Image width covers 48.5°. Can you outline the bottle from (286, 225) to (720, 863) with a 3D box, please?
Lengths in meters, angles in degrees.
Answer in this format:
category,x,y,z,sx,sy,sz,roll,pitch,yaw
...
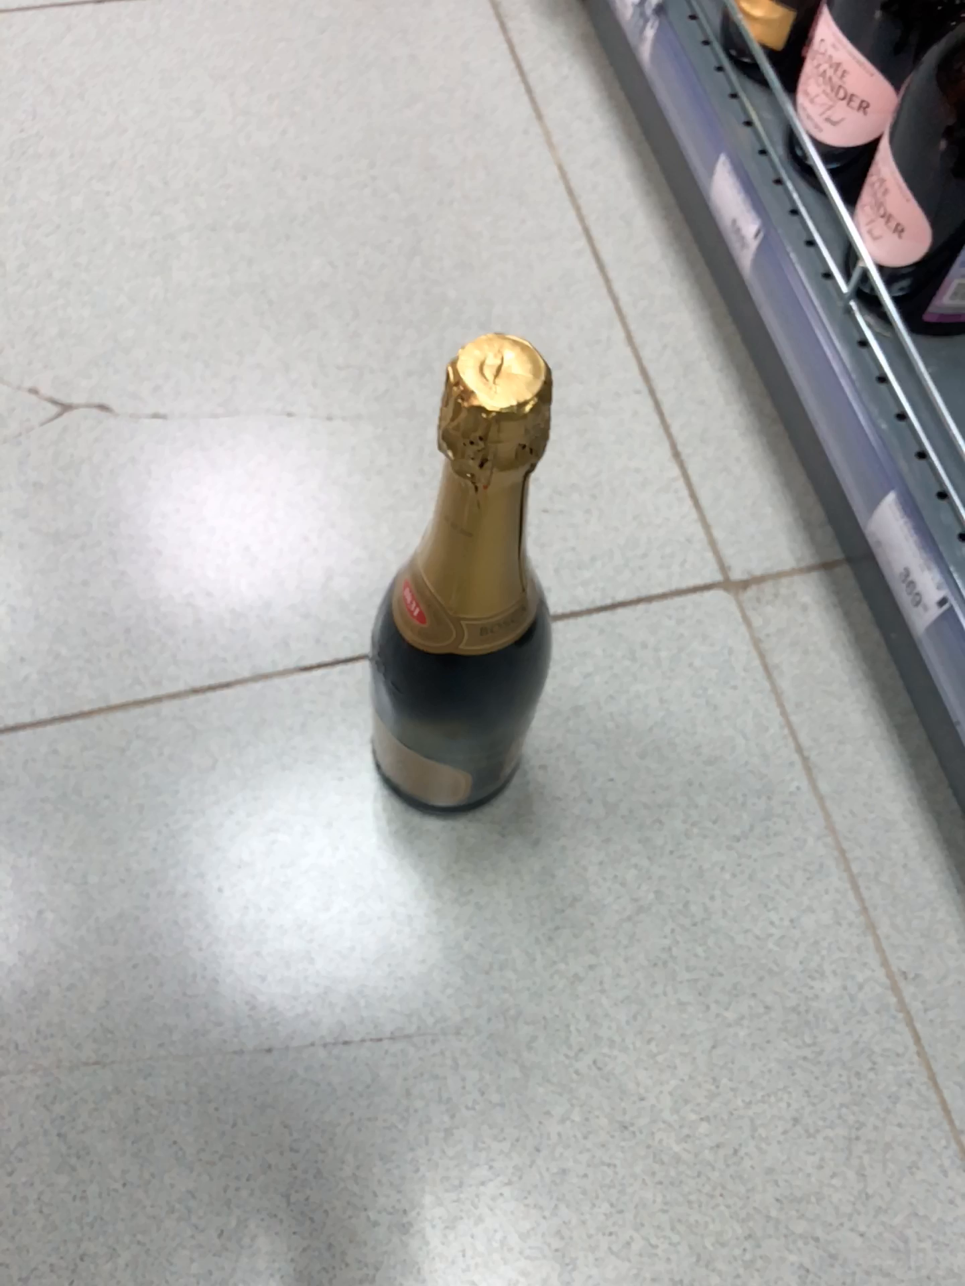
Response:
category,x,y,z,sx,sy,sz,roll,pitch,yaw
bottle,-0.009,-0.010,0.455,0.100,0.314,0.100,2,64,-4
